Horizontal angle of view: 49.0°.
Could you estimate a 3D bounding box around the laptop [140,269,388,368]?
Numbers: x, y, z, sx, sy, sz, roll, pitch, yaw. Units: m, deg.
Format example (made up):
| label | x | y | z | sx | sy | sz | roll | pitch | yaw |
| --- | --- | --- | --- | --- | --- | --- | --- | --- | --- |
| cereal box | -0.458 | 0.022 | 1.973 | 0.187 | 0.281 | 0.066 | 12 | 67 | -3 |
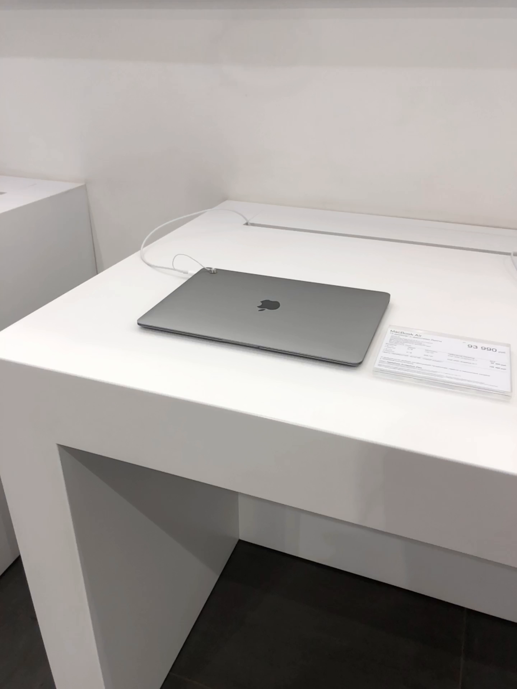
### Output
| label | x | y | z | sx | sy | sz | roll | pitch | yaw |
| --- | --- | --- | --- | --- | --- | --- | --- | --- | --- |
| laptop | 0.016 | -0.048 | 0.790 | 0.292 | 0.006 | 0.205 | 10 | 31 | 19 |
